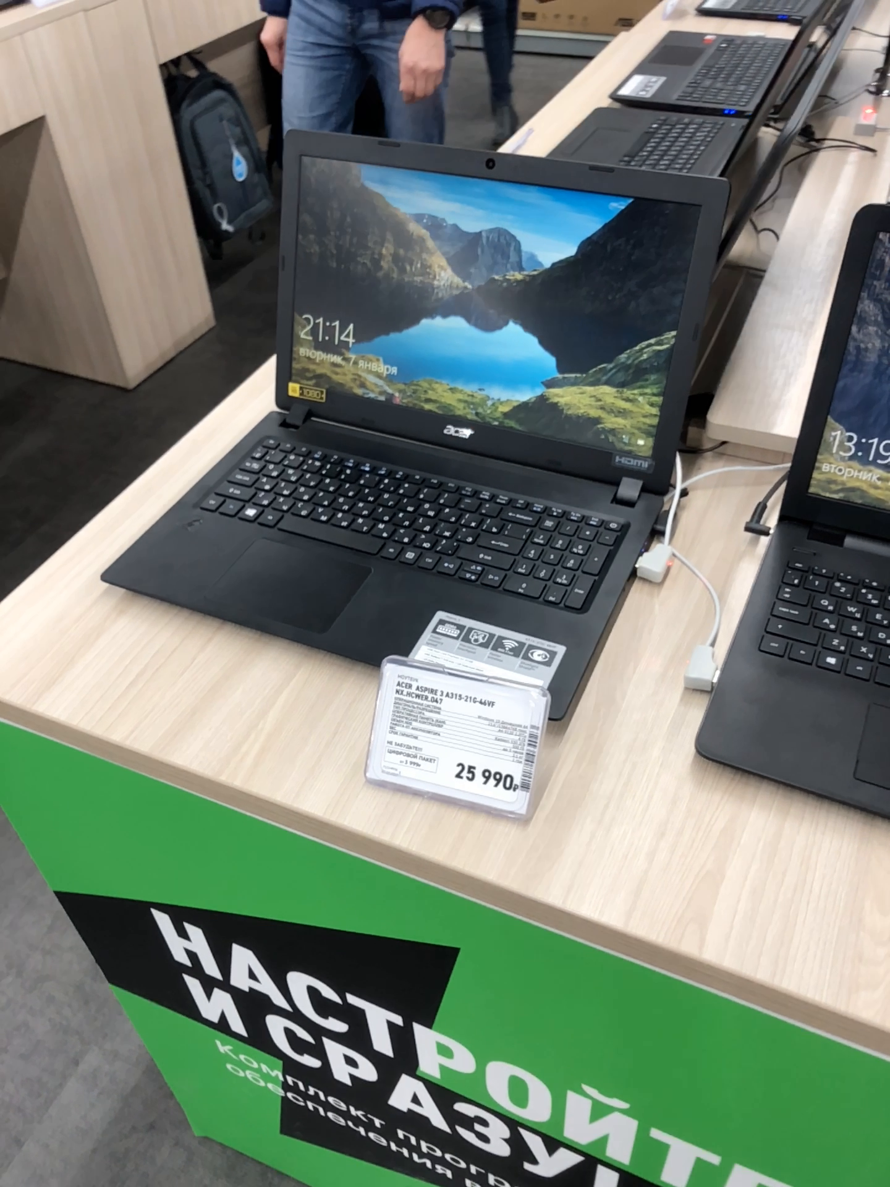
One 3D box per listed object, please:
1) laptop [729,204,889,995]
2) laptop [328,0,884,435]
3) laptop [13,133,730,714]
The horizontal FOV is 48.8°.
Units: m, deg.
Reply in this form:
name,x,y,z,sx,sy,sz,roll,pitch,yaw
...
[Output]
name,x,y,z,sx,sy,sz,roll,pitch,yaw
laptop,0.388,-0.032,0.570,0.359,0.220,0.296,15,48,21
laptop,0.165,-0.401,0.962,0.395,0.250,0.403,14,46,21
laptop,-0.028,-0.159,0.744,0.374,0.219,0.349,15,46,20
